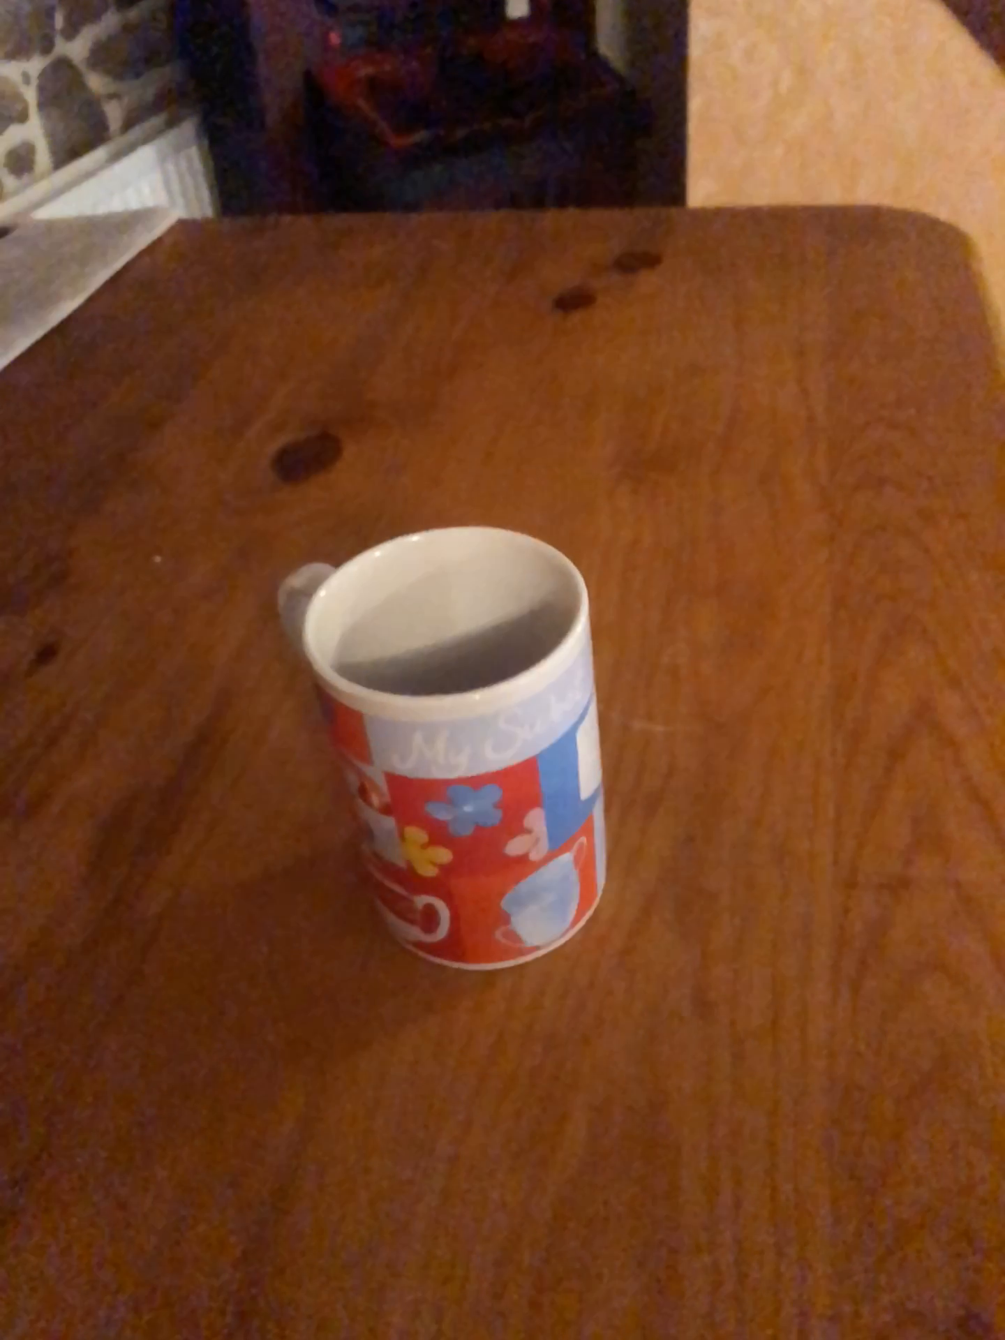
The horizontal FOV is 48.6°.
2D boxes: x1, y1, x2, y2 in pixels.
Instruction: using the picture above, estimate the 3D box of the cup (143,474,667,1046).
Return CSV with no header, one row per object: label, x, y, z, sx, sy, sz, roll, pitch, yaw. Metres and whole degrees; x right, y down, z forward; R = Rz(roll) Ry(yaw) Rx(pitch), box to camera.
cup,-0.023,0.020,0.316,0.112,0.098,0.080,26,48,34
